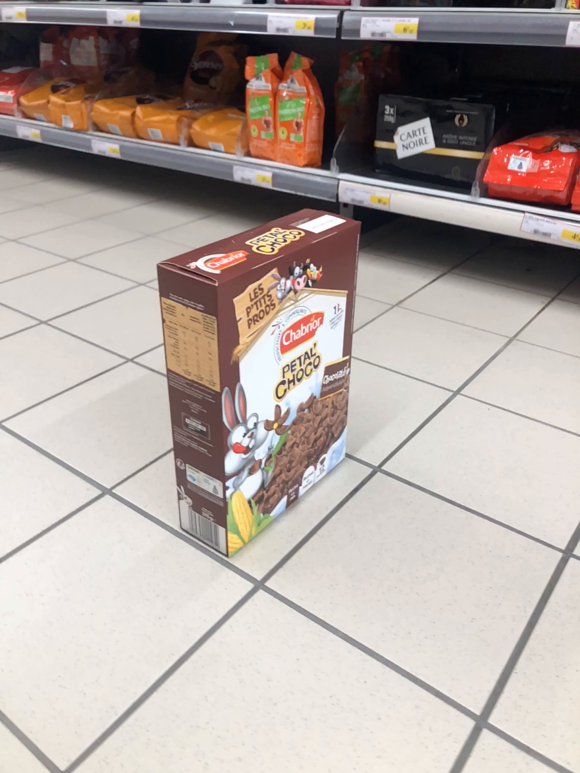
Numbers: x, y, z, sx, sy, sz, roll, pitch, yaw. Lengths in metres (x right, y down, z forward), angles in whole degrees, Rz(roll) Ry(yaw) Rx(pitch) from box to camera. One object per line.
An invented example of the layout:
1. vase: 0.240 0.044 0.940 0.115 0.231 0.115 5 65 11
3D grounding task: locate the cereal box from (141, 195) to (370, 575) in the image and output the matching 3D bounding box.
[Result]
1. cereal box: -0.019 -0.007 0.576 0.070 0.278 0.201 20 35 31
